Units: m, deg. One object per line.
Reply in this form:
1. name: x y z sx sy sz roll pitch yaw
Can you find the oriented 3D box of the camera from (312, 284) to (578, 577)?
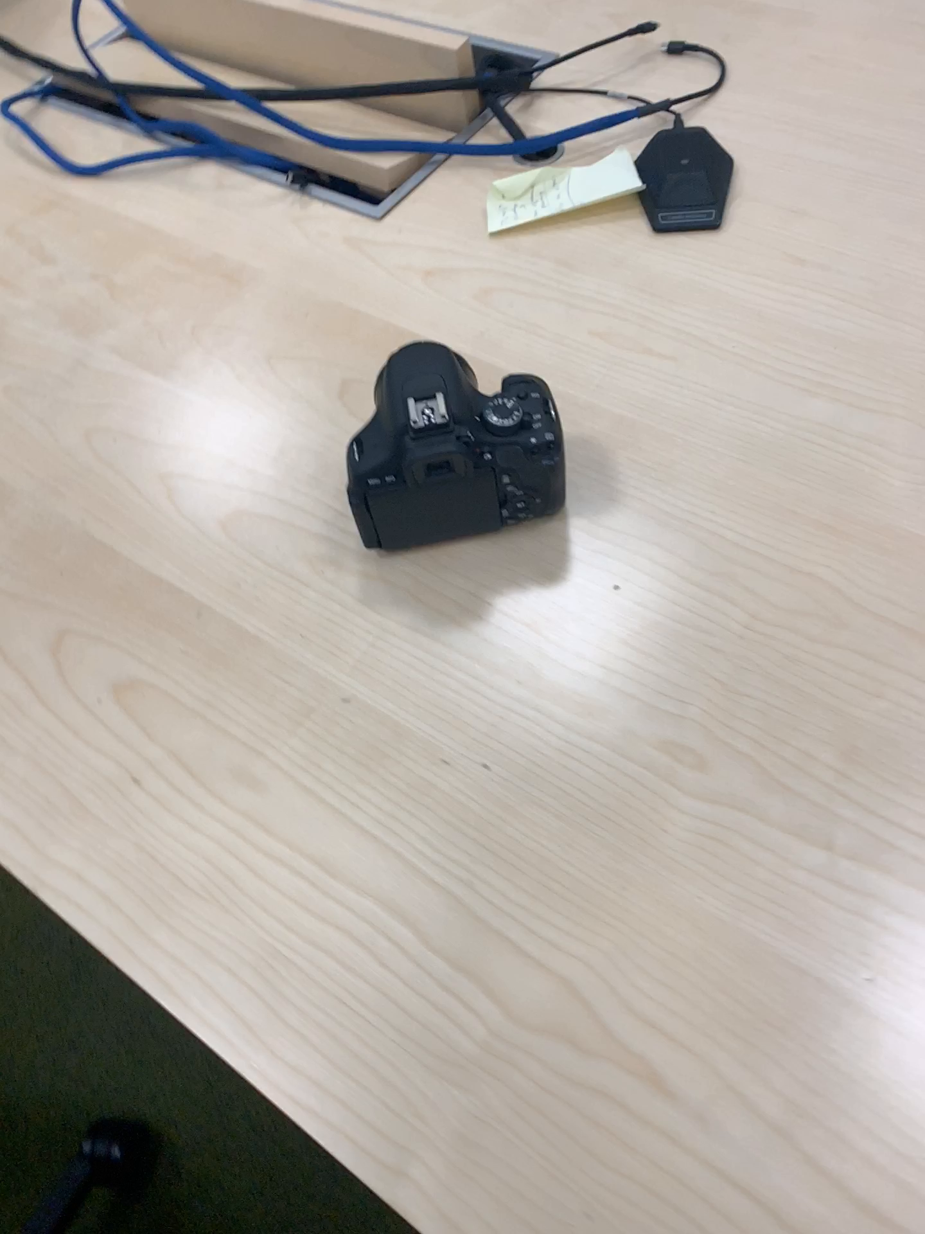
1. camera: -0.010 -0.116 0.595 0.140 0.100 0.123 -11 56 0
